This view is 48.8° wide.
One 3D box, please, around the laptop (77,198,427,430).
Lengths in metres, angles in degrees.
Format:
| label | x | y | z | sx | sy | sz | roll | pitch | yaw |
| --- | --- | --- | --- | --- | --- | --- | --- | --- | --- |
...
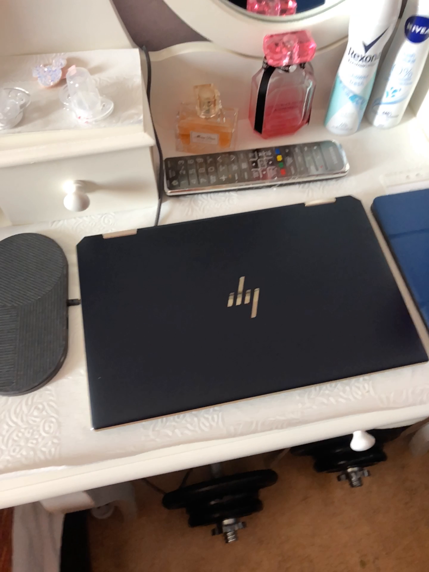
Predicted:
| label | x | y | z | sx | sy | sz | roll | pitch | yaw |
| --- | --- | --- | --- | --- | --- | --- | --- | --- | --- |
| laptop | 0.030 | 0.009 | 0.399 | 0.267 | 0.007 | 0.161 | -9 | 66 | -12 |
